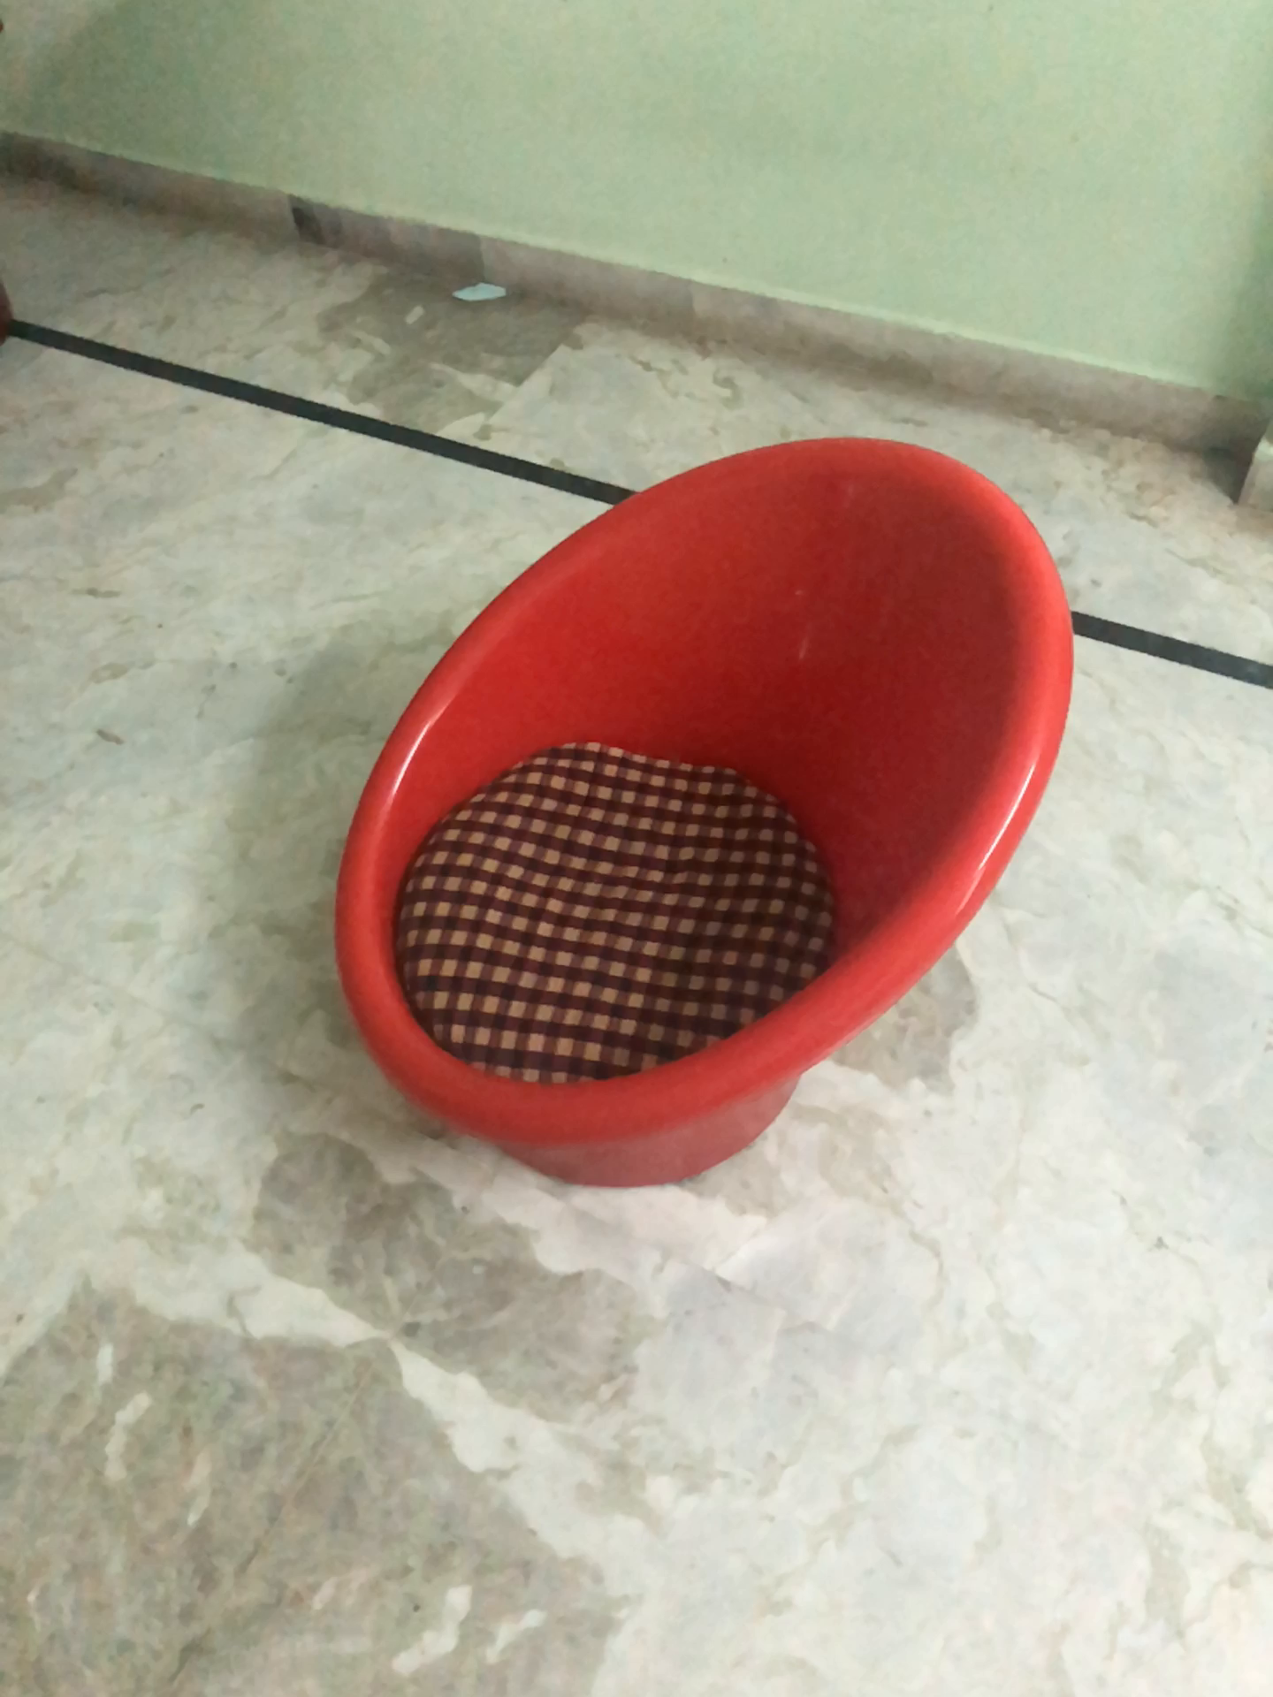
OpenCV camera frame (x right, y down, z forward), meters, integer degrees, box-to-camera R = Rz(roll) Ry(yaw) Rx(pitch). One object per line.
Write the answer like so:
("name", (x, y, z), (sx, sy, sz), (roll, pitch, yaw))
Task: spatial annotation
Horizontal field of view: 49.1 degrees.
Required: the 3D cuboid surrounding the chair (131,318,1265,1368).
("chair", (0.032, -0.036, 1.366), (0.741, 0.507, 0.623), (-24, 53, -15))
